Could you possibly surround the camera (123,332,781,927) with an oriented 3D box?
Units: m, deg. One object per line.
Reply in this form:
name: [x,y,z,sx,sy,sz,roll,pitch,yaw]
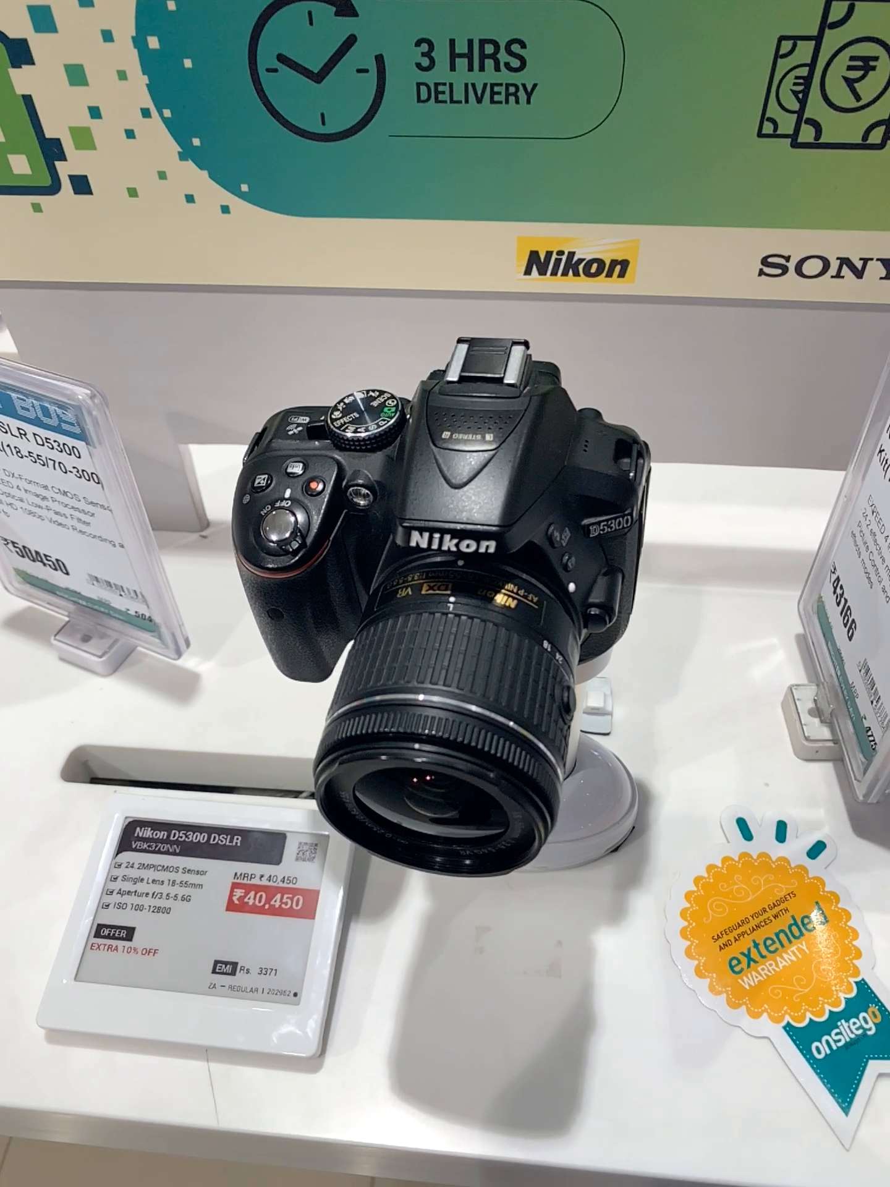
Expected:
camera: [0.006,0.004,0.235,0.118,0.082,0.123,3,46,5]
